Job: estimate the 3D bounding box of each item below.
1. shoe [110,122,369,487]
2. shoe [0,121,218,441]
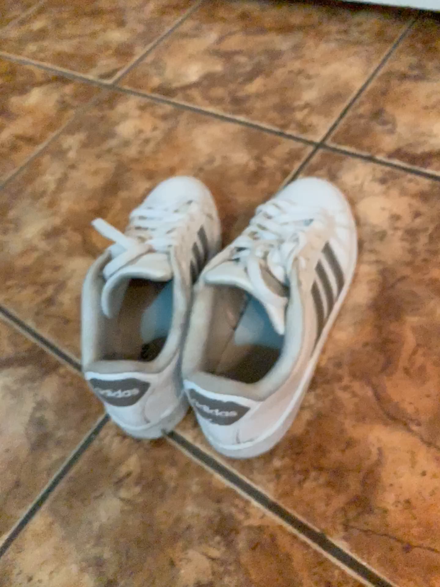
[{"bbox_3d":[0.037,-0.007,0.359,0.101,0.104,0.257,11,59,22],"label":"shoe"},{"bbox_3d":[-0.072,-0.018,0.396,0.101,0.104,0.257,-4,55,12],"label":"shoe"}]
